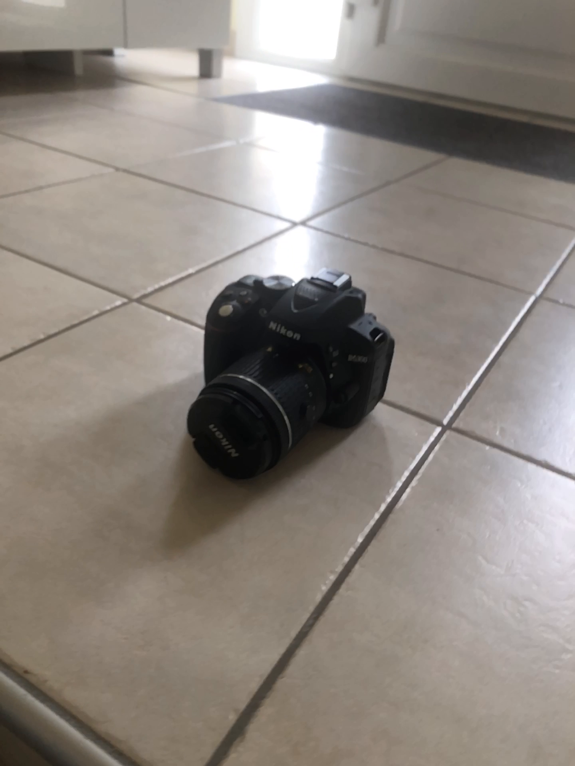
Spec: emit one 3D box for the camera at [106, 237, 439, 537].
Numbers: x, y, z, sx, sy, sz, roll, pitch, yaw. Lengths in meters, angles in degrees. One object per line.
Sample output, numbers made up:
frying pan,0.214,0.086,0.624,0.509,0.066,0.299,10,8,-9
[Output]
camera,-0.005,-0.012,0.417,0.140,0.089,0.161,23,38,24
